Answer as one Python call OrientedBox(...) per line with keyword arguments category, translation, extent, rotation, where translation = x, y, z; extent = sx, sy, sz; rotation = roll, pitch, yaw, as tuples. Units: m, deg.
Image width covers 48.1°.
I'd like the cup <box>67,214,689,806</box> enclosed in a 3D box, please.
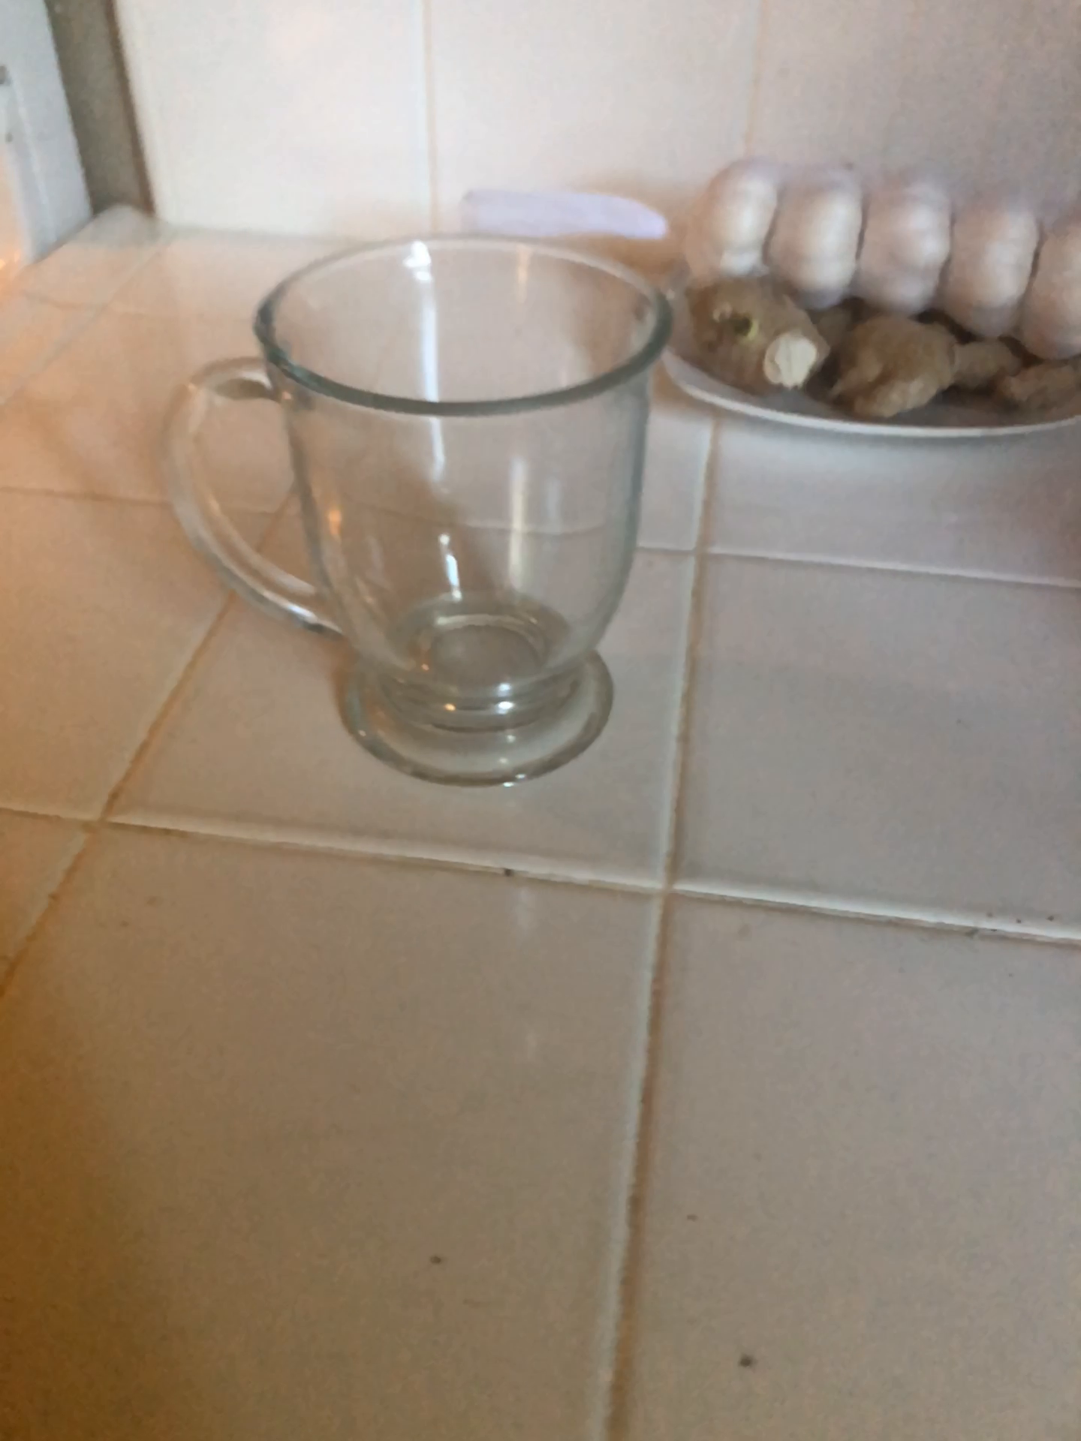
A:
OrientedBox(category="cup", translation=(-0.033, -0.057, 0.329), extent=(0.130, 0.119, 0.101), rotation=(2, 43, 1))
